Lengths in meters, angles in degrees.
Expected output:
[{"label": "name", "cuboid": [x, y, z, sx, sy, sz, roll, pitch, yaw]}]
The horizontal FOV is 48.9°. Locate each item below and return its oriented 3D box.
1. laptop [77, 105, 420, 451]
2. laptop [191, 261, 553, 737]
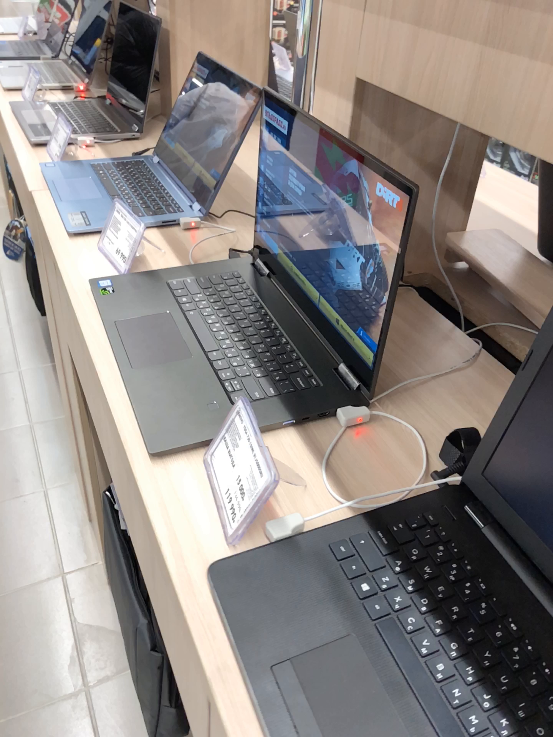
[{"label": "laptop", "cuboid": [-0.066, -0.135, 0.703, 0.252, 0.240, 0.360, -10, 36, -19]}, {"label": "laptop", "cuboid": [0.143, 0.104, 0.337, 0.308, 0.238, 0.307, -4, 32, -16]}]
